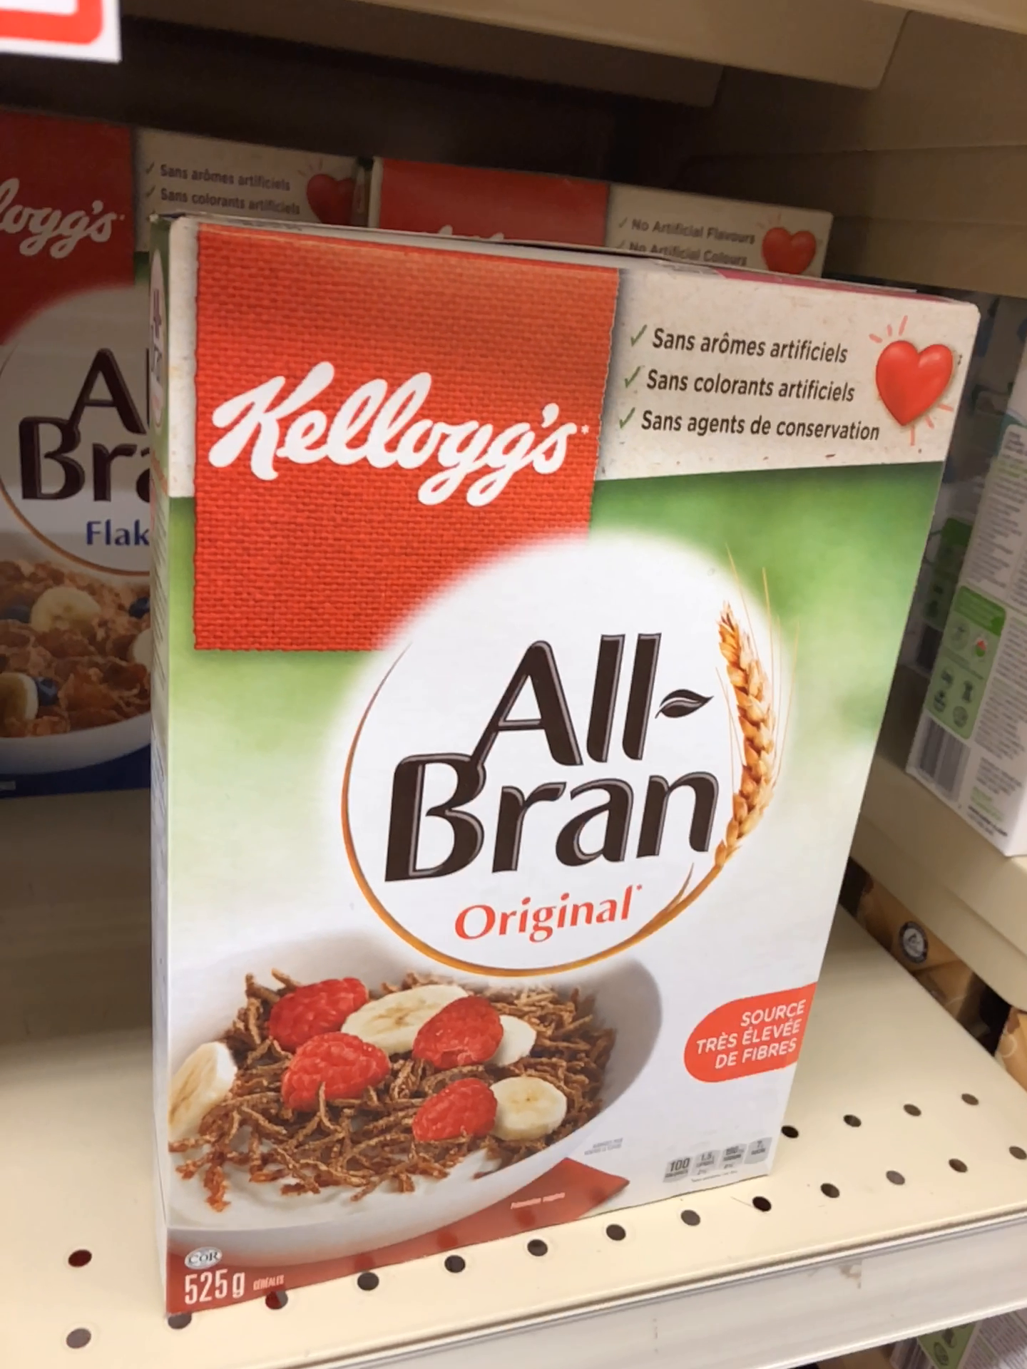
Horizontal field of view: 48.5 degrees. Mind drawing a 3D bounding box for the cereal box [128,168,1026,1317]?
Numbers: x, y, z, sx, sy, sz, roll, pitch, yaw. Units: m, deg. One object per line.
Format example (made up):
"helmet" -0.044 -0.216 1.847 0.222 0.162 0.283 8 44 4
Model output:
"cereal box" 0.012 0.020 0.269 0.190 0.238 0.050 -2 24 -21
